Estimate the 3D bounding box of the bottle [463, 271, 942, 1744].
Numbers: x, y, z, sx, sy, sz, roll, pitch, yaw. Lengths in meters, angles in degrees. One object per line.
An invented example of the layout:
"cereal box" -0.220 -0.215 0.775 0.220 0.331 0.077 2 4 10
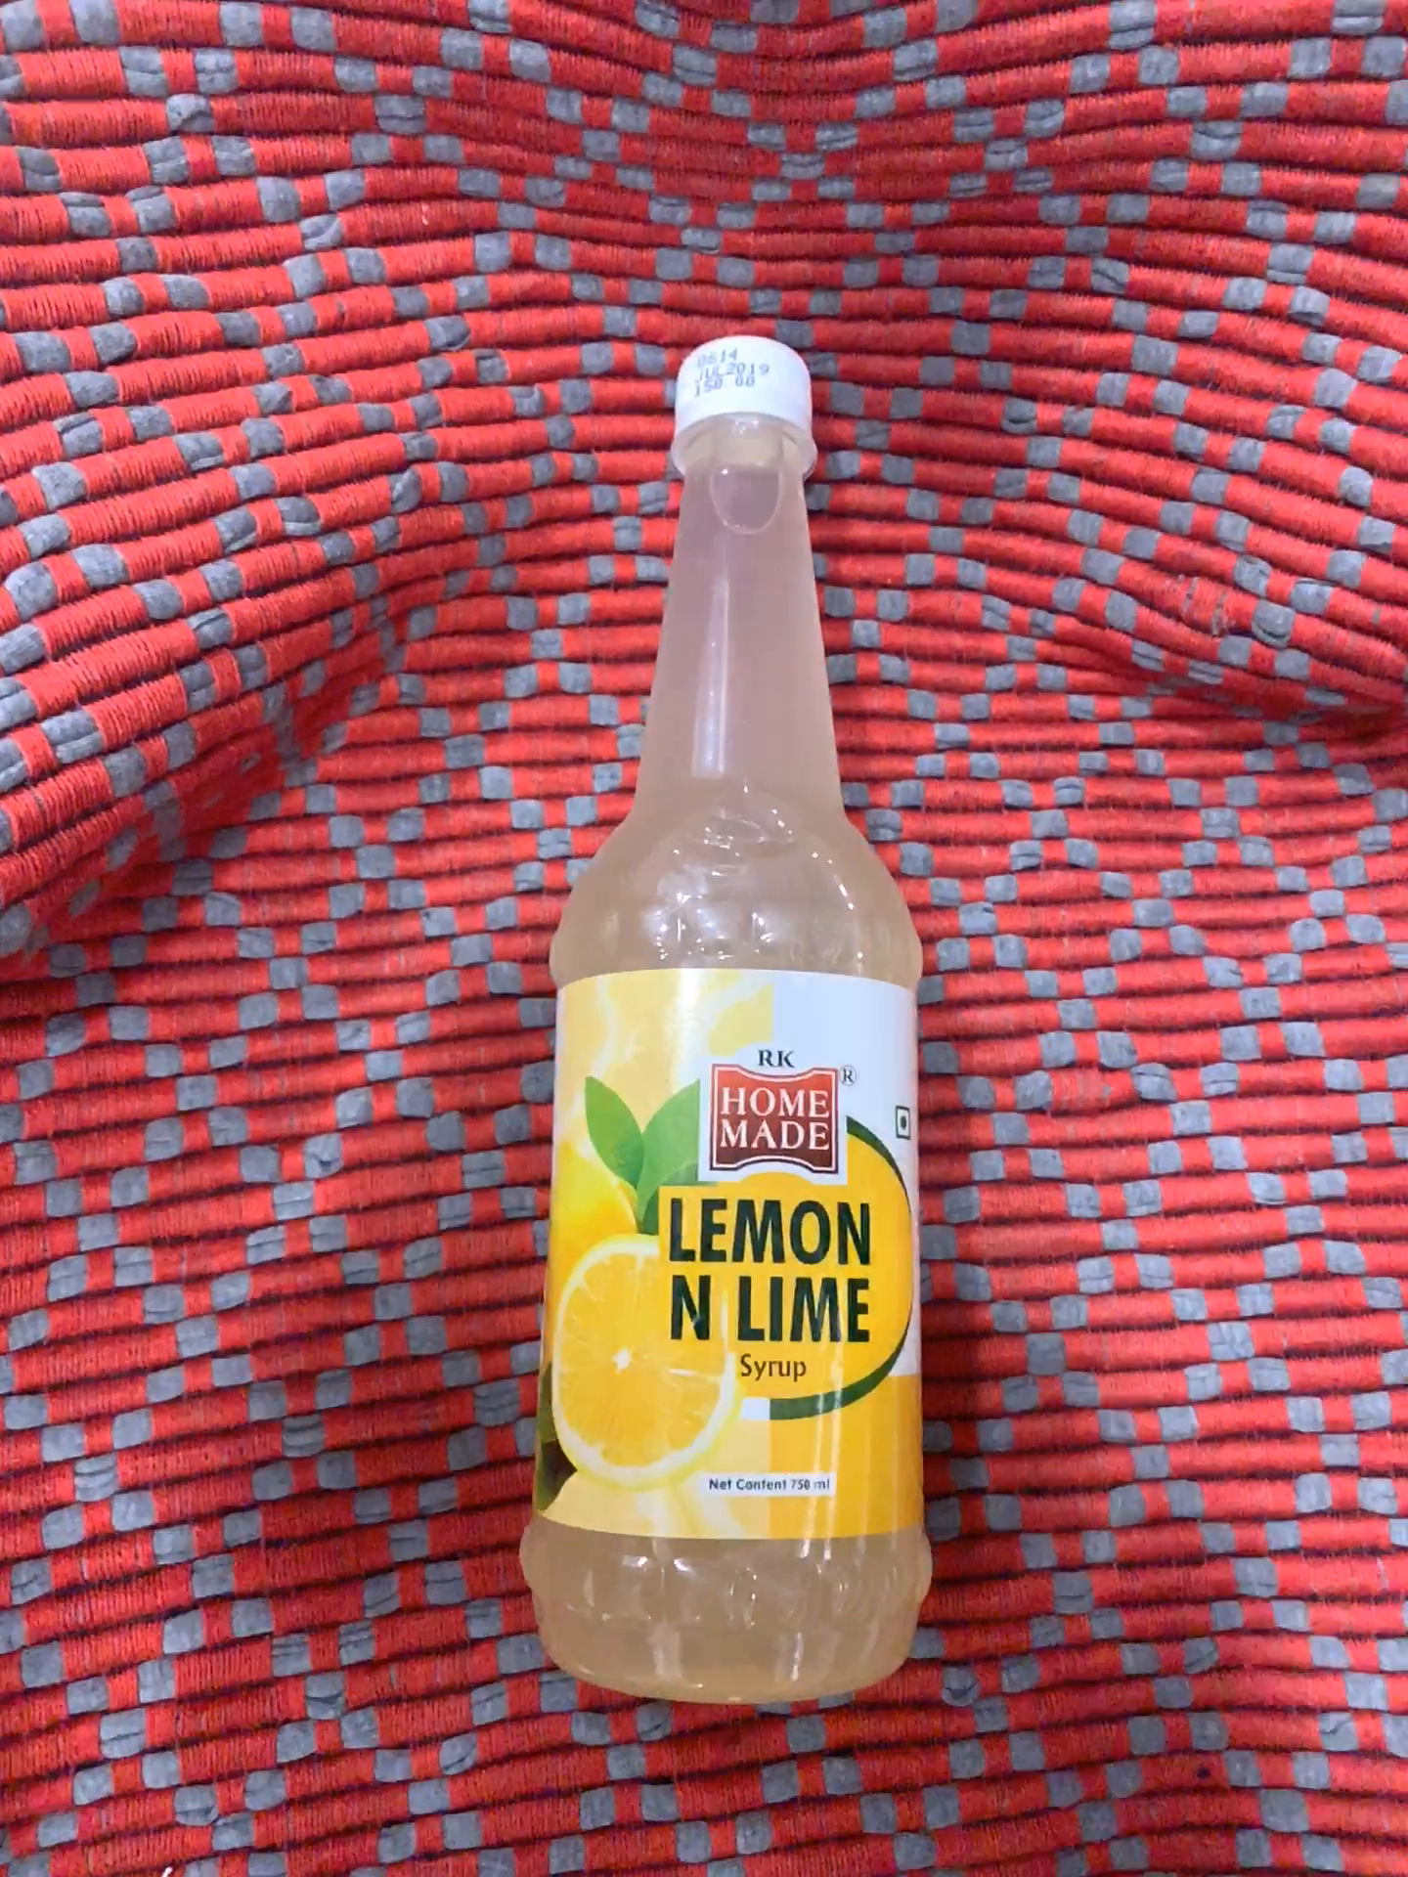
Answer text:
"bottle" 0.001 0.003 0.284 0.070 0.070 0.260 1 73 -2
